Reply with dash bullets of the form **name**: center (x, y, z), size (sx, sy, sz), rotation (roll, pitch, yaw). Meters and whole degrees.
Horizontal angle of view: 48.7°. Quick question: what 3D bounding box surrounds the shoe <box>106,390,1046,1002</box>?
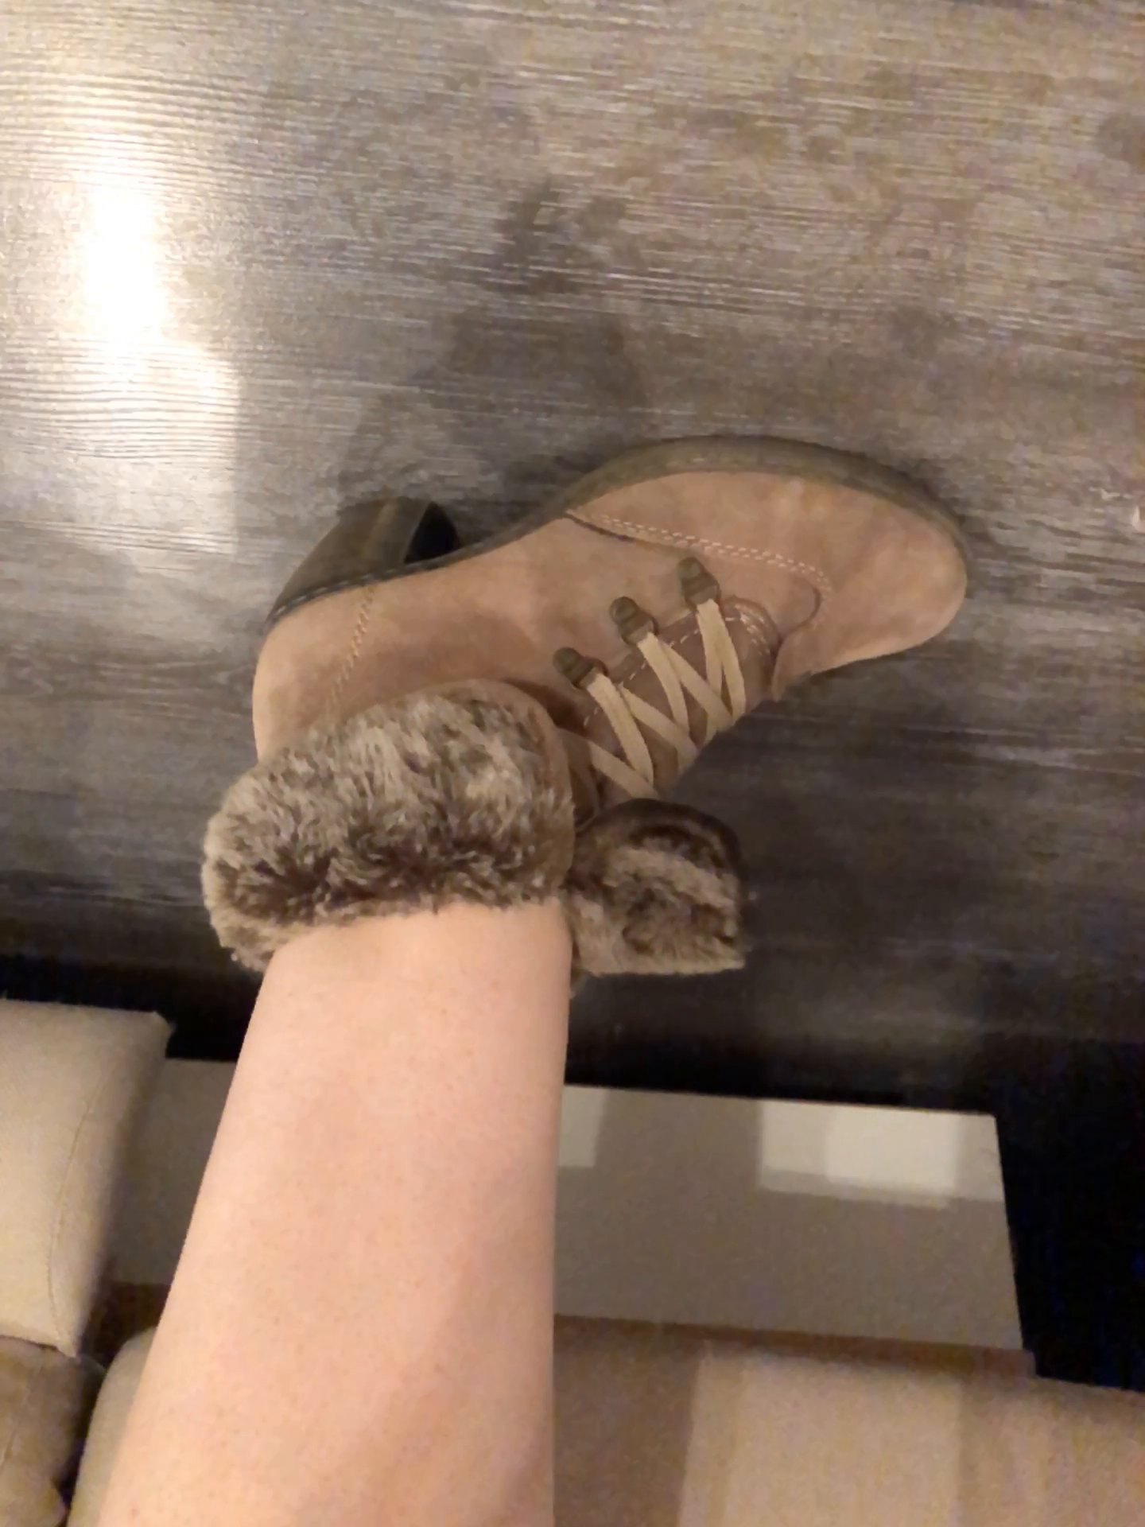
- **shoe**: center (0.007, -0.015, 0.422), size (0.250, 0.149, 0.121), rotation (-2, 146, 10)
